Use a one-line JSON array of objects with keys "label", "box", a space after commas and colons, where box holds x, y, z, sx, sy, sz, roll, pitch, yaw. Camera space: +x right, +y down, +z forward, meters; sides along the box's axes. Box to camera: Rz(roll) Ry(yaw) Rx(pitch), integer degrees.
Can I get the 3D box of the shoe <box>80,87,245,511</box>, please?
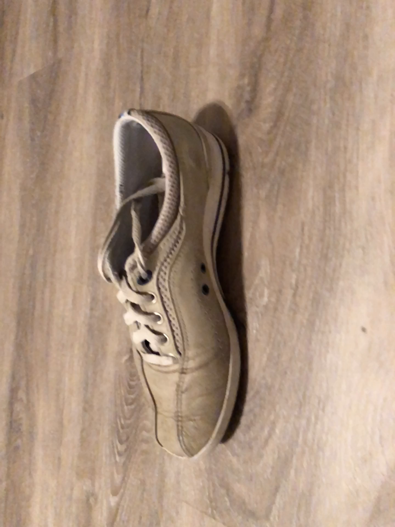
[{"label": "shoe", "box": [-0.025, 0.021, 0.316, 0.090, 0.070, 0.250, -2, 85, 43]}]
